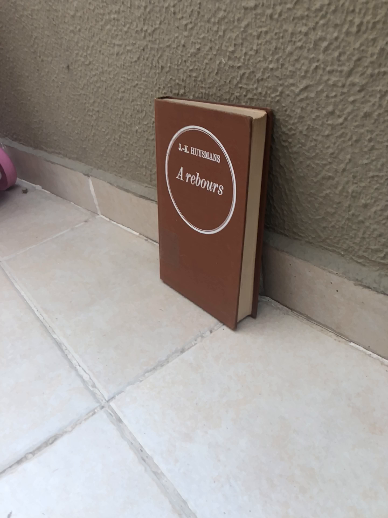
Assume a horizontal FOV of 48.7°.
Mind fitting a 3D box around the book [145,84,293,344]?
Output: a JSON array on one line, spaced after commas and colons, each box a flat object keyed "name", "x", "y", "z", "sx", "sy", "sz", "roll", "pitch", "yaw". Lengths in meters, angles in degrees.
[{"name": "book", "x": 0.013, "y": -0.050, "z": 0.411, "sx": 0.040, "sy": 0.209, "sz": 0.151, "roll": -17, "pitch": 30, "yaw": -33}]
